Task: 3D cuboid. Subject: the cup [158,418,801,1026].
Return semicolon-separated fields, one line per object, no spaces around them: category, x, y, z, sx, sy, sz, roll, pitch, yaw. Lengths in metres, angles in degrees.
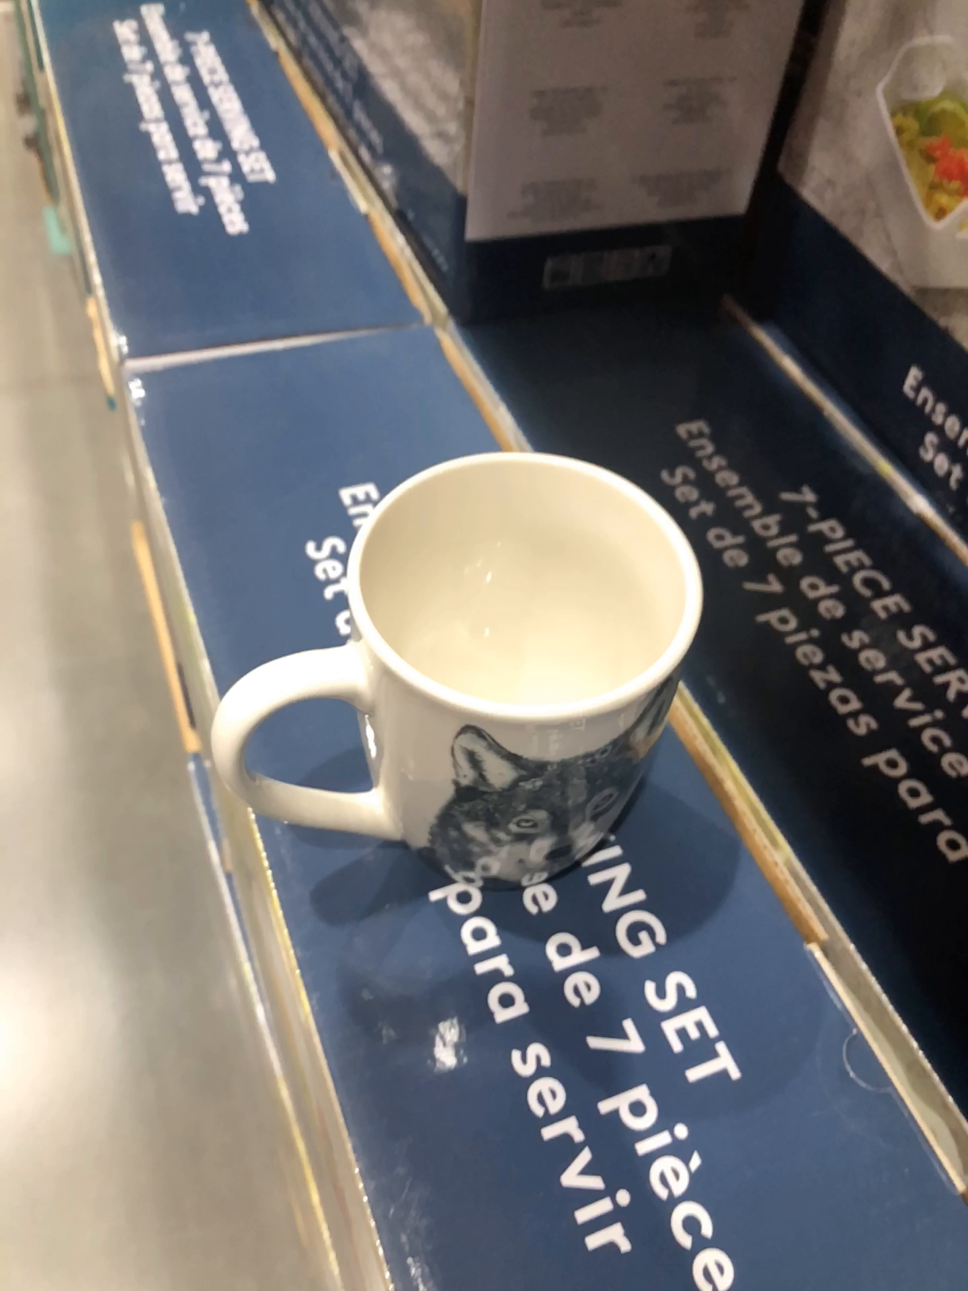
cup;-0.007;0.018;0.297;0.128;0.102;0.093;-15;52;-19
